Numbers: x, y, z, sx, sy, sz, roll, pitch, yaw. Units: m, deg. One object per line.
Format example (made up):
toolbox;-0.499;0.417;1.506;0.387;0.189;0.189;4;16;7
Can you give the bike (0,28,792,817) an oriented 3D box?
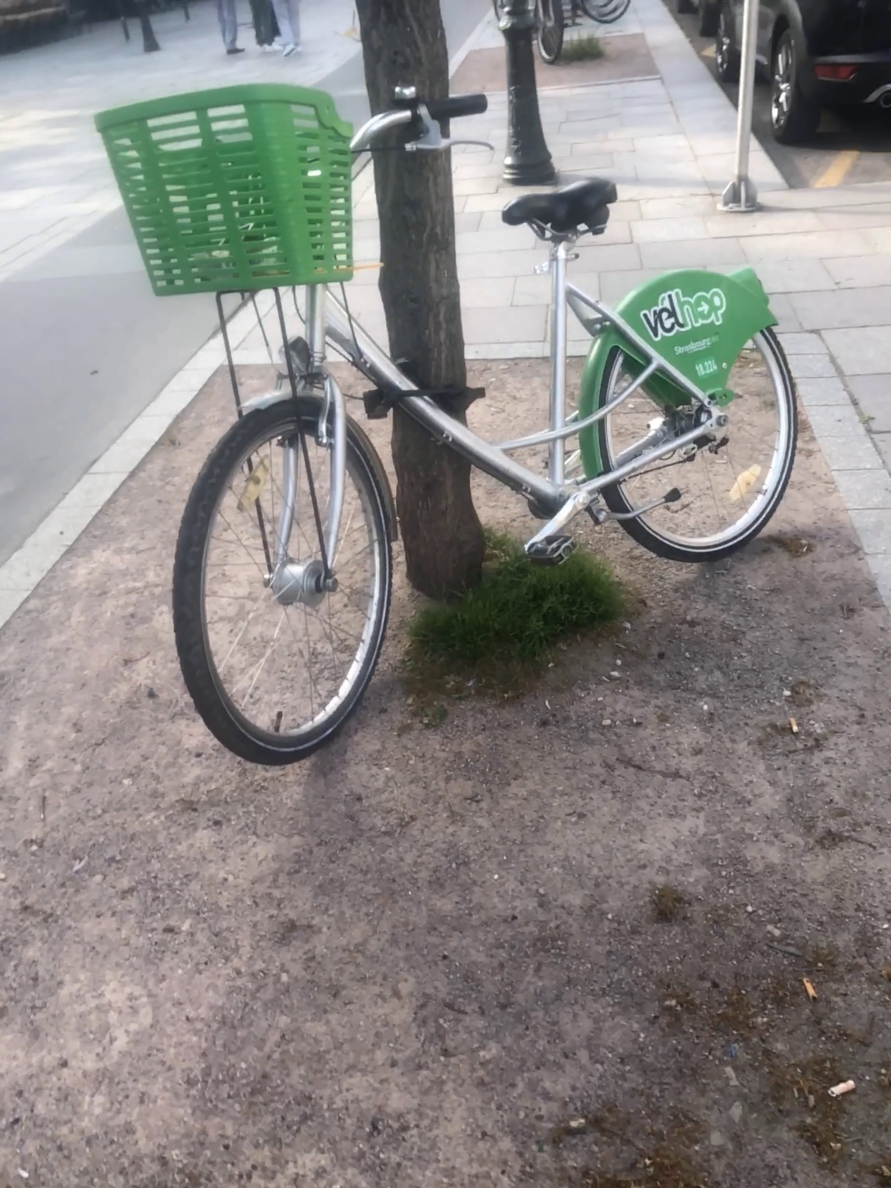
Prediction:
bike;0.110;-0.479;1.994;0.311;1.115;1.726;25;42;39
